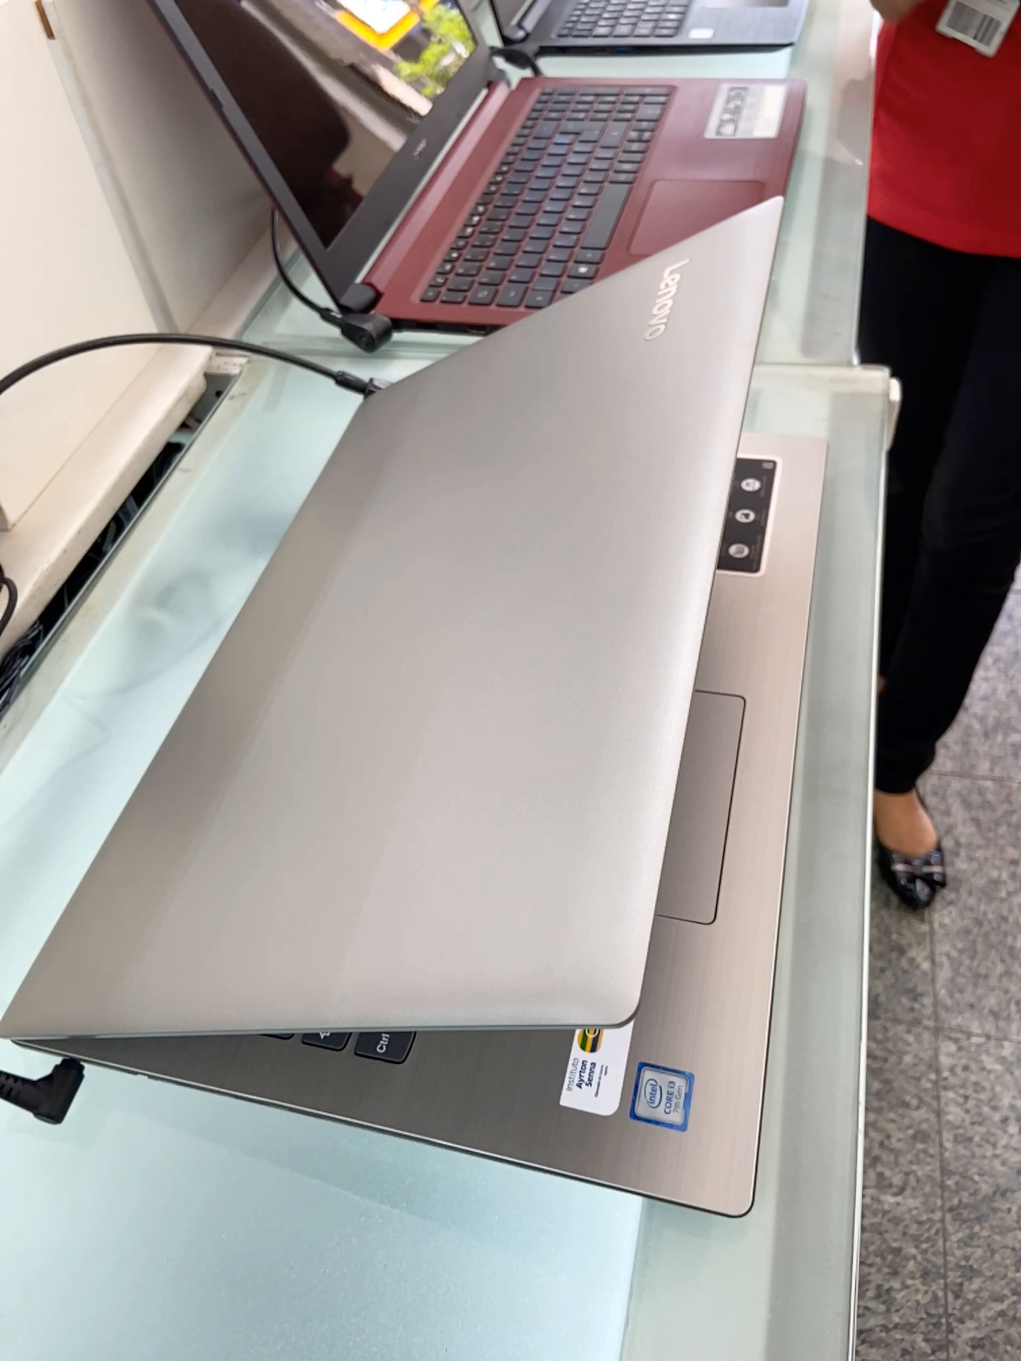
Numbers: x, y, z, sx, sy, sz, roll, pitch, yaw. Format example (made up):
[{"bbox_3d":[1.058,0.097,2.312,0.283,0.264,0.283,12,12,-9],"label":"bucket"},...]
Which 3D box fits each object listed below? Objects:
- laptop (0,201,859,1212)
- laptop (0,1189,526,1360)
[{"bbox_3d":[-0.010,-0.038,0.407,0.246,0.114,0.371,8,51,14],"label":"laptop"},{"bbox_3d":[-0.244,0.282,0.079,0.400,0.211,0.356,4,47,11],"label":"laptop"}]
